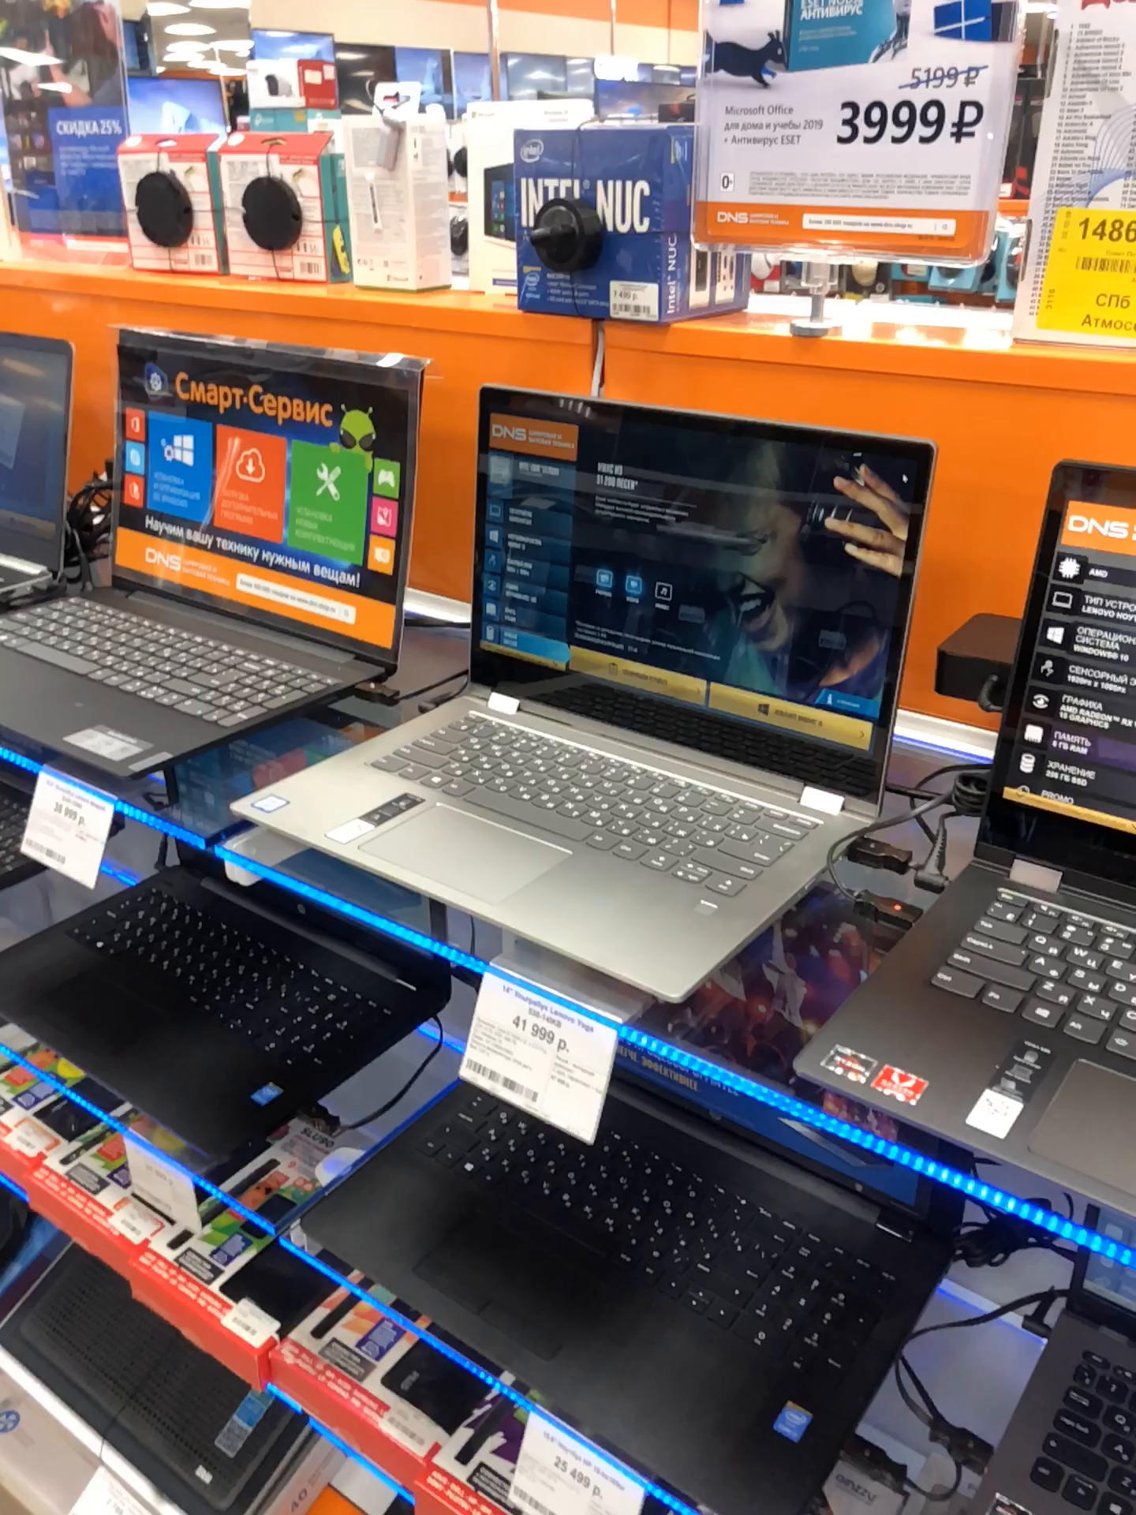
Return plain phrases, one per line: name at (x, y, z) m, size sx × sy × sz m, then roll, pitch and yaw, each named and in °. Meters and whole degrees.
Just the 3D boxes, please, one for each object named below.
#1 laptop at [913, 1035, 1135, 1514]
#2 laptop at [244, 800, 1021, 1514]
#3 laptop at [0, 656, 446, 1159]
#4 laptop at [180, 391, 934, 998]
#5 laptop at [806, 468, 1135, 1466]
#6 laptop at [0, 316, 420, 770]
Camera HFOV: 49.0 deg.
laptop at (0.362, 0.319, 0.553) m, size 0.309 × 0.213 × 0.237 m, roll 17°, pitch 29°, yaw 36°
laptop at (0.037, 0.214, 0.784) m, size 0.368 × 0.207 × 0.264 m, roll 16°, pitch 31°, yaw 33°
laptop at (-0.328, 0.097, 1.046) m, size 0.379 × 0.235 × 0.239 m, roll 18°, pitch 31°, yaw 34°
laptop at (-0.006, -0.067, 0.699) m, size 0.316 × 0.212 × 0.238 m, roll 18°, pitch 31°, yaw 34°
laptop at (0.285, 0.030, 0.490) m, size 0.290 × 0.209 × 0.248 m, roll 17°, pitch 30°, yaw 34°
laptop at (-0.327, -0.181, 0.914) m, size 0.305 × 0.212 × 0.279 m, roll 18°, pitch 31°, yaw 29°
